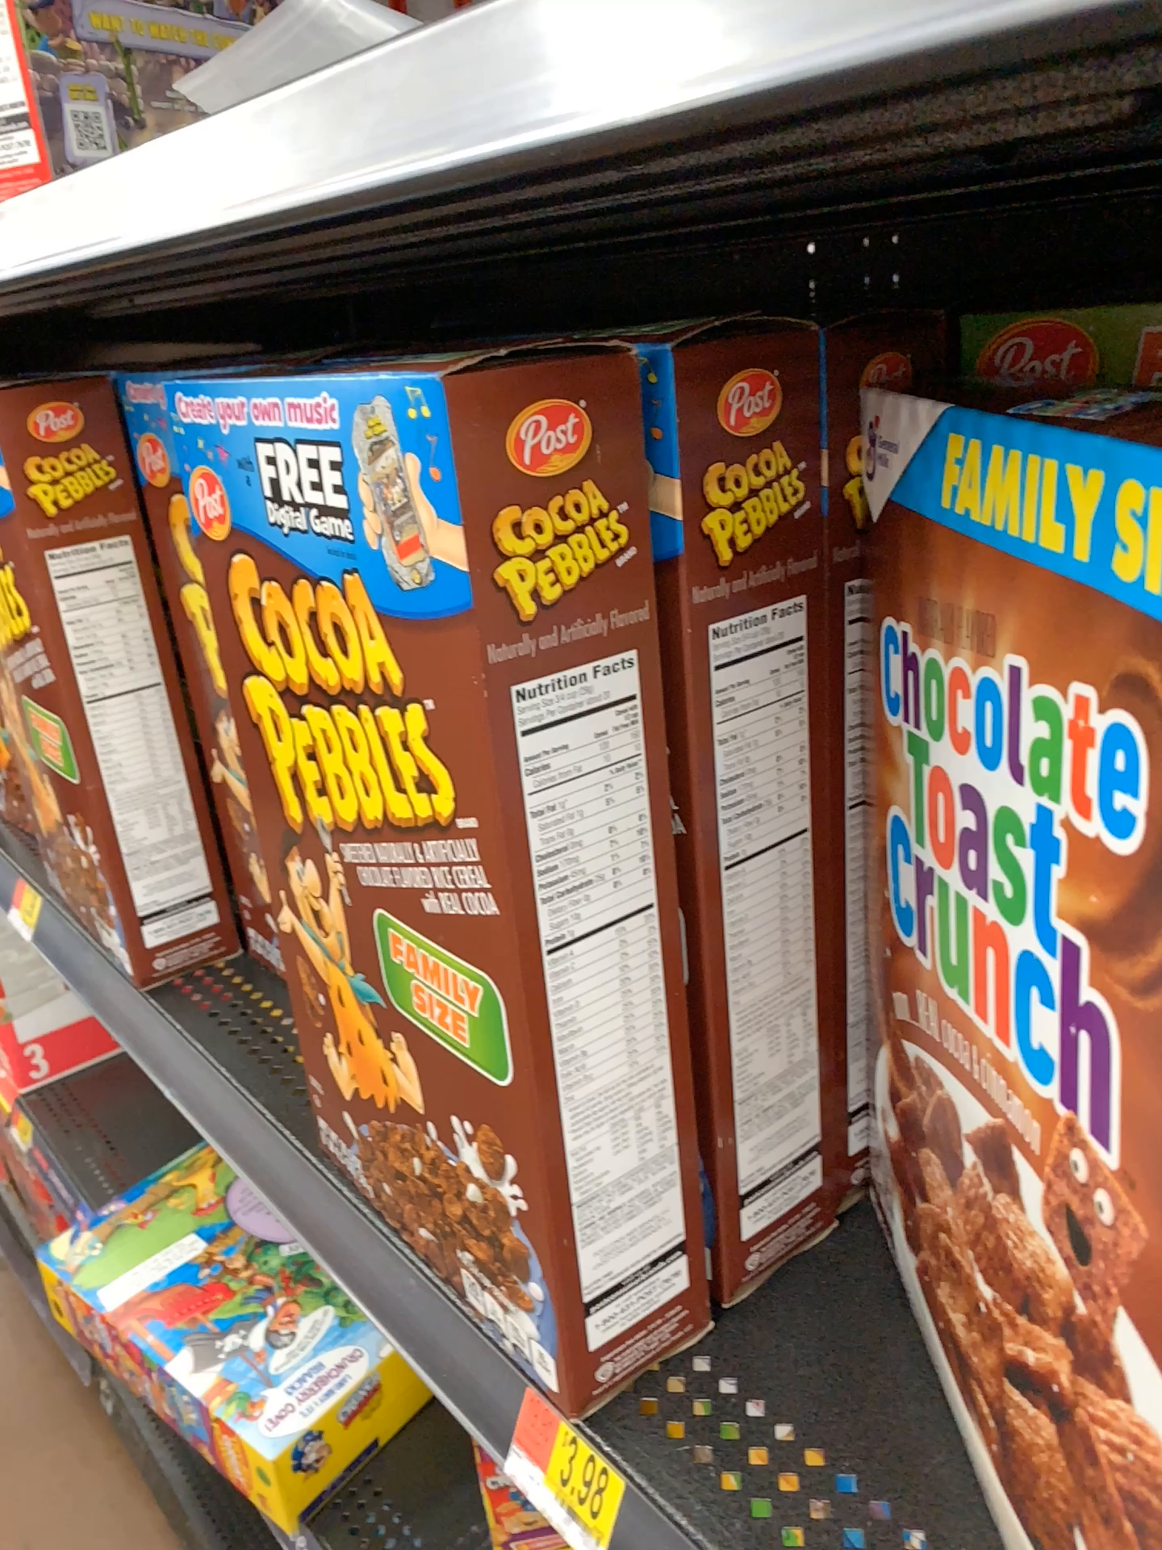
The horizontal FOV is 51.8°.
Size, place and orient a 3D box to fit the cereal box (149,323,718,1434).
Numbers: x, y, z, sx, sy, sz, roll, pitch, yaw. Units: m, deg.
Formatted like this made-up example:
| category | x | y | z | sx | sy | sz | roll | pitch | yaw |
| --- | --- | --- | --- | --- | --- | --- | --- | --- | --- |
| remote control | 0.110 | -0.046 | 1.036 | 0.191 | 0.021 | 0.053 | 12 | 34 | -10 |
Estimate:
| category | x | y | z | sx | sy | sz | roll | pitch | yaw |
| --- | --- | --- | --- | --- | --- | --- | --- | --- | --- |
| cereal box | -0.051 | 0.025 | 0.416 | 0.060 | 0.329 | 0.201 | -20 | 25 | -33 |
